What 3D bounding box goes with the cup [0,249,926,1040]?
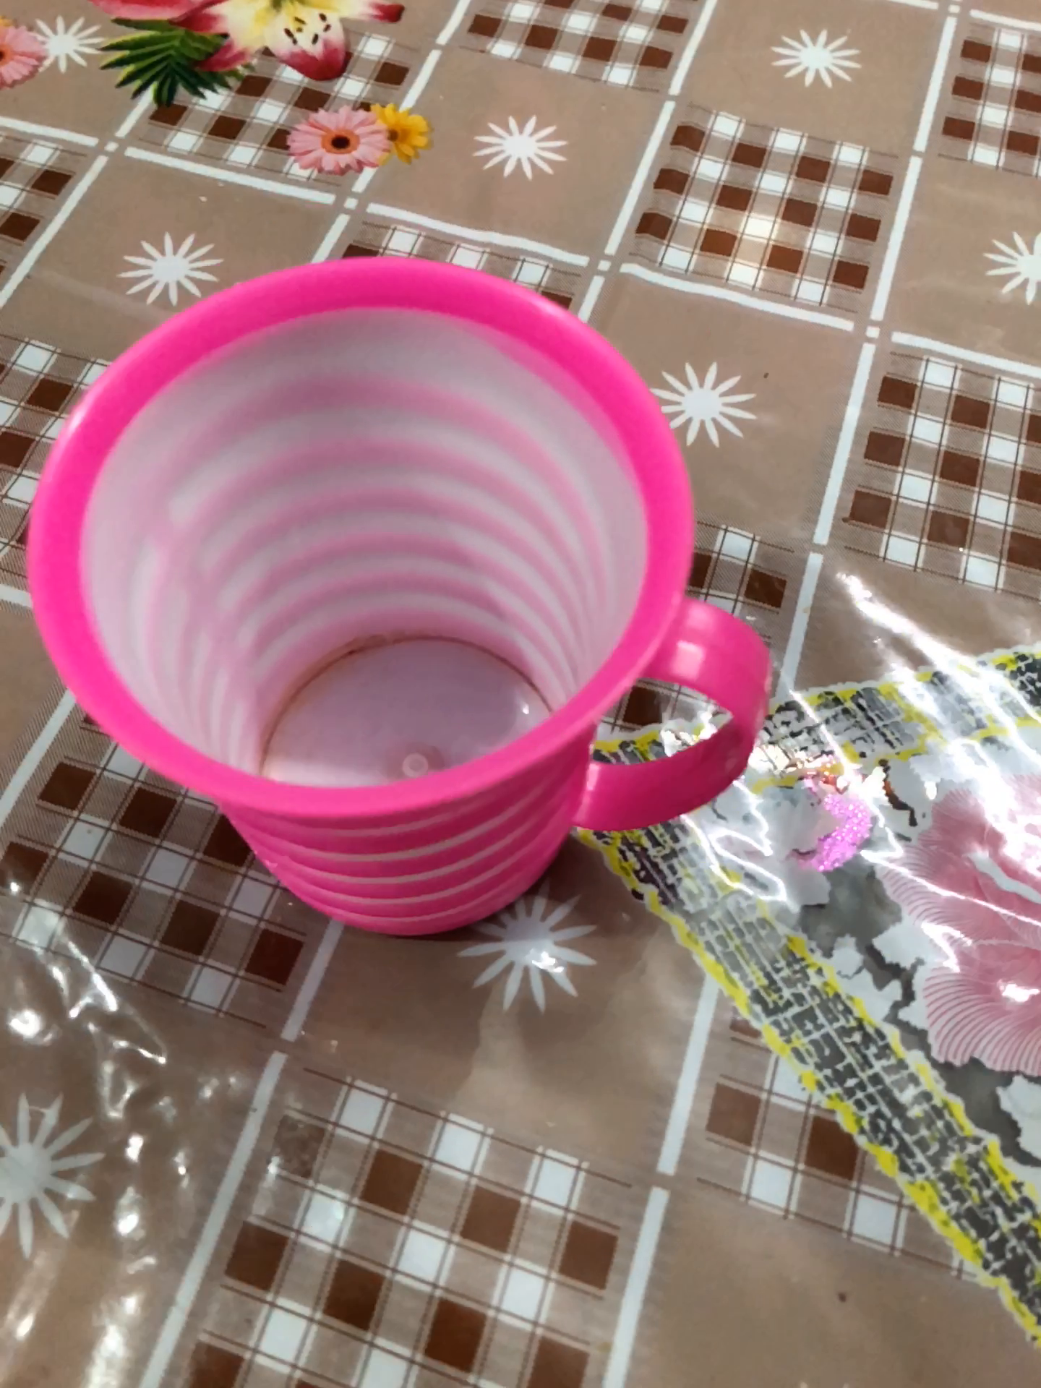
[{"bbox_3d":[-0.009,-0.001,0.181,0.110,0.090,0.080,5,63,2],"label":"cup"}]
